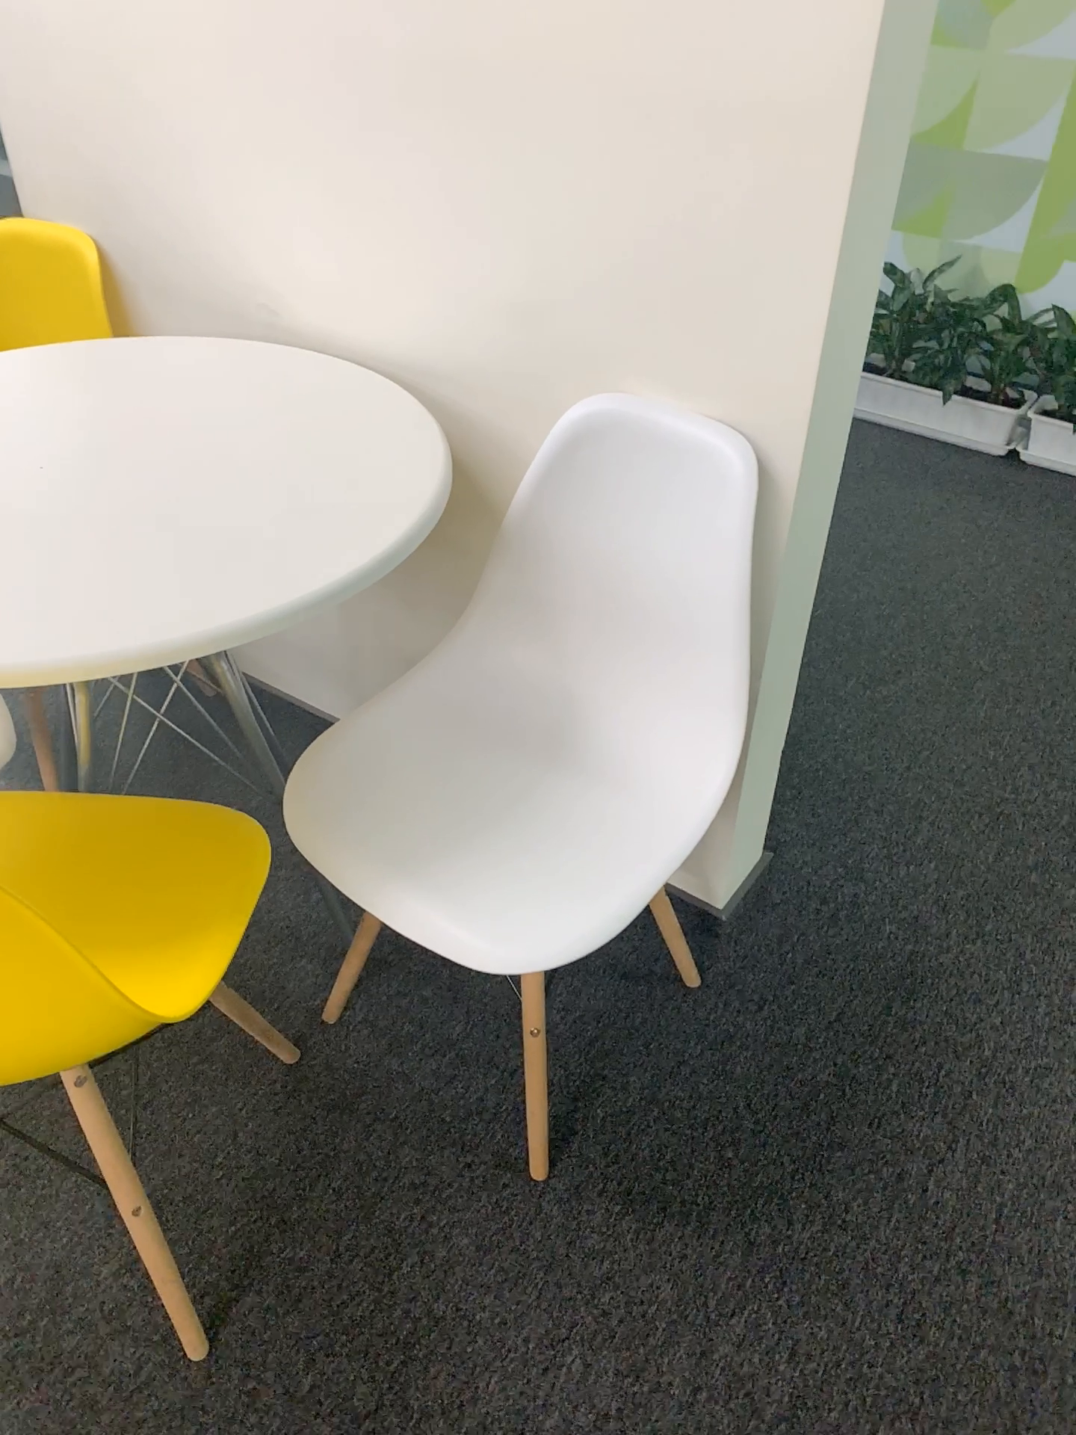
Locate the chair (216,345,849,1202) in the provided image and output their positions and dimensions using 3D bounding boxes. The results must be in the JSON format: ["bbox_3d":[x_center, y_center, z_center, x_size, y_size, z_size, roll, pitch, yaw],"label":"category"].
[{"bbox_3d":[-0.006,0.078,1.393,0.481,0.875,0.442,26,44,27],"label":"chair"}]
